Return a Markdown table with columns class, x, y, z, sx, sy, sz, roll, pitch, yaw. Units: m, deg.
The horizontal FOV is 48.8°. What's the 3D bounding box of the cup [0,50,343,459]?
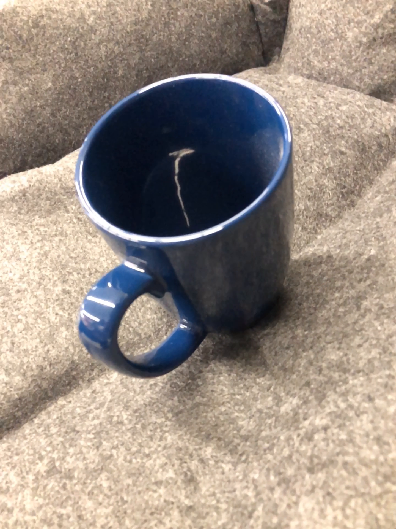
| class | x | y | z | sx | sy | sz | roll | pitch | yaw |
| --- | --- | --- | --- | --- | --- | --- | --- | --- | --- |
| cup | -0.007 | -0.005 | 0.205 | 0.090 | 0.109 | 0.130 | 26 | 66 | 28 |
